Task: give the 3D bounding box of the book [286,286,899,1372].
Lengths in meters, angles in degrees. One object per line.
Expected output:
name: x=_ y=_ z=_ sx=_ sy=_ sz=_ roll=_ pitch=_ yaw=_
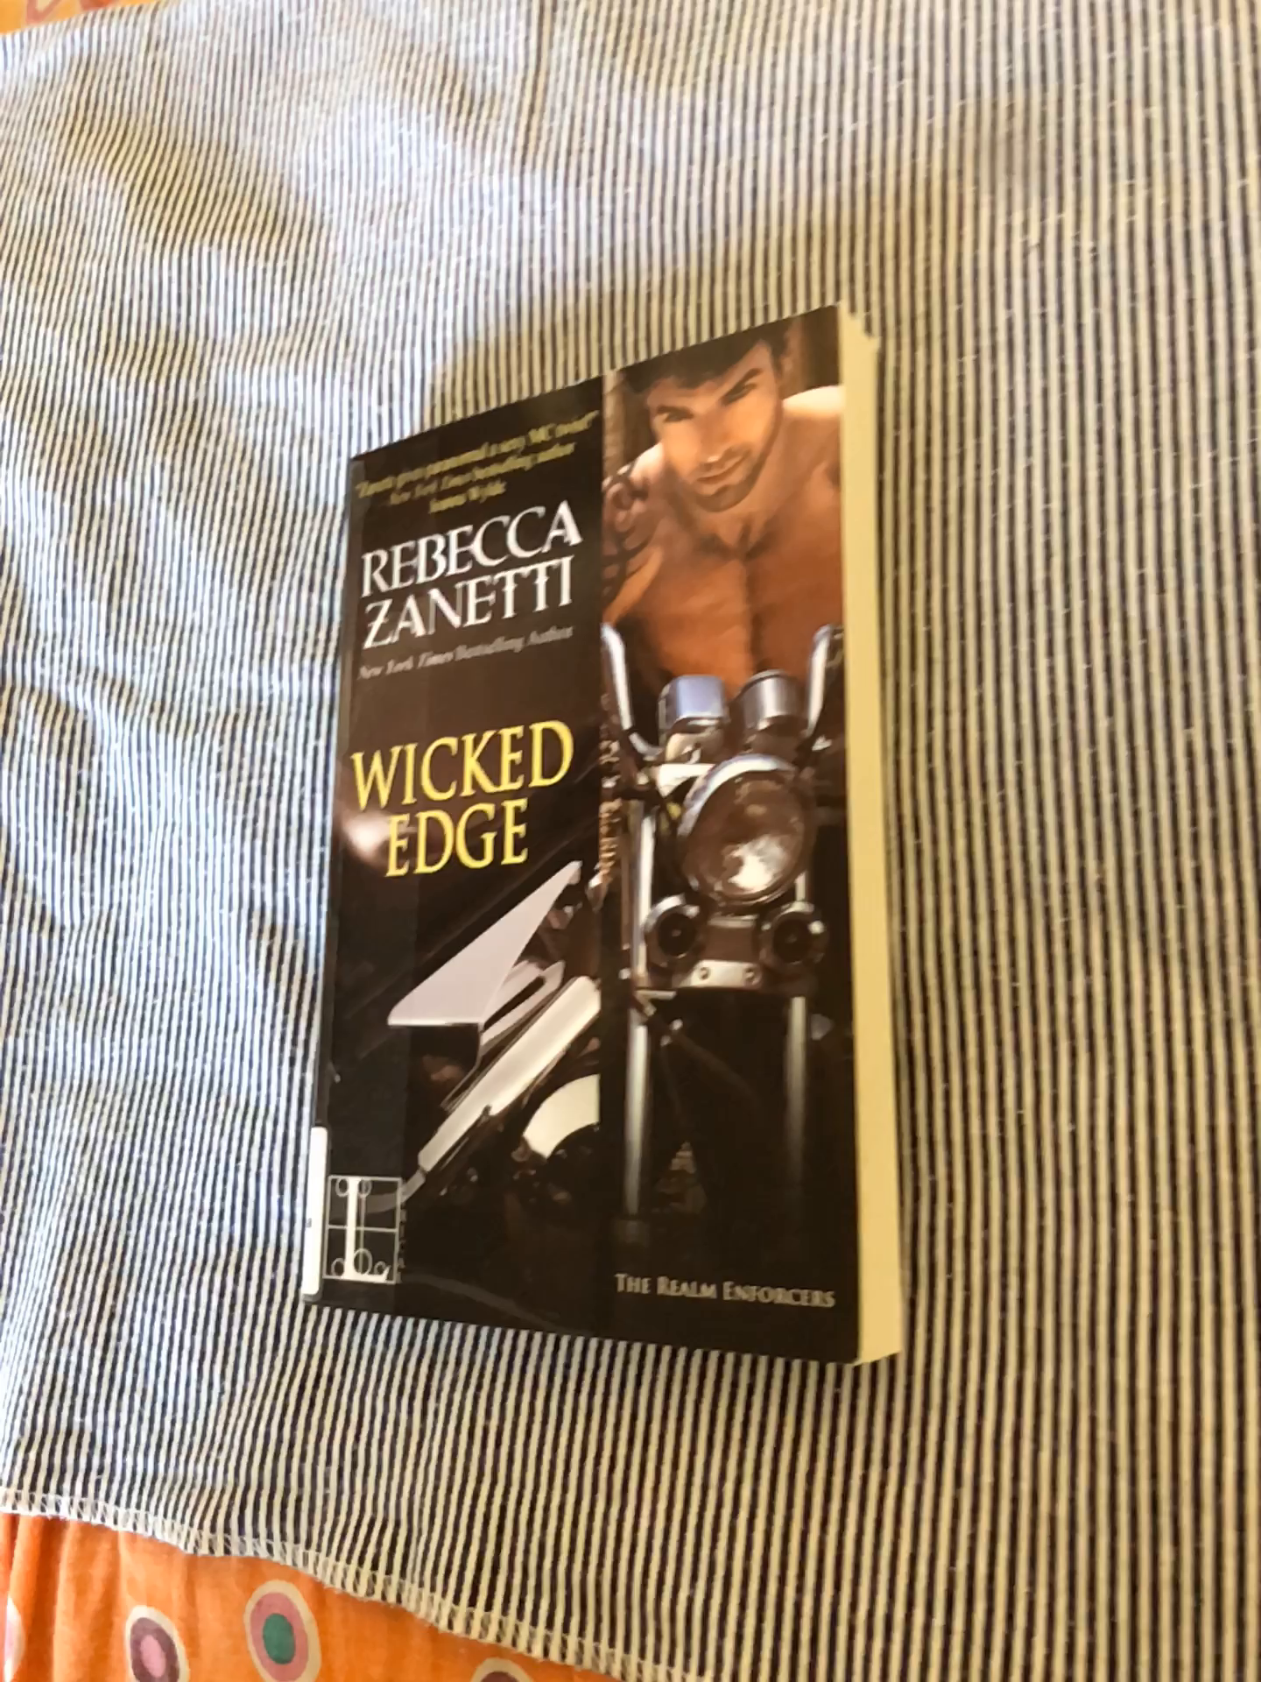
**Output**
book: x=-0.011 y=-0.002 z=0.320 sx=0.137 sy=0.030 sz=0.215 roll=-5 pitch=78 yaw=30
